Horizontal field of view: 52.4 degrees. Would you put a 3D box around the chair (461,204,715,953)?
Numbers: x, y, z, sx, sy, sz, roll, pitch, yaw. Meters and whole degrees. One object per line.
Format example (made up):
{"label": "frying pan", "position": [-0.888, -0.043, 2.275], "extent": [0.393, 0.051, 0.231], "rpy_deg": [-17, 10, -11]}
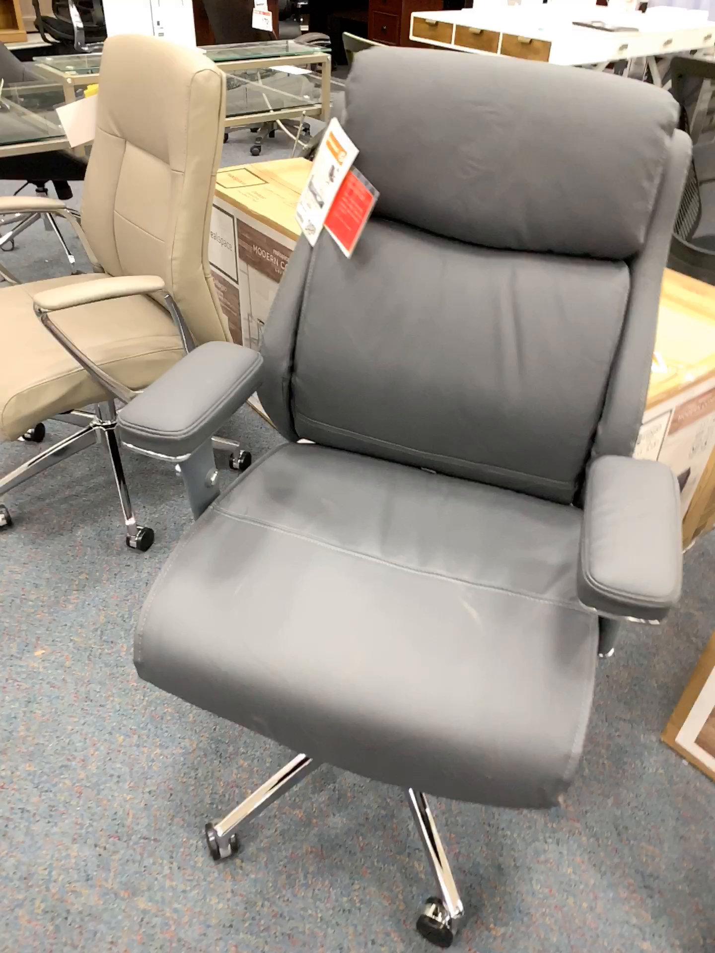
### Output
{"label": "chair", "position": [0.638, 0.529, 0.452], "extent": [0.784, 1.095, 0.768], "rpy_deg": [-8, 39, -13]}

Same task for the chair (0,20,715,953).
{"label": "chair", "position": [0.116, 0.062, 1.042], "extent": [0.694, 1.075, 0.698], "rpy_deg": [14, 39, 8]}

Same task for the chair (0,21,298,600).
{"label": "chair", "position": [-0.664, -0.440, 1.713], "extent": [0.716, 0.976, 0.786], "rpy_deg": [-25, 45, -31]}
